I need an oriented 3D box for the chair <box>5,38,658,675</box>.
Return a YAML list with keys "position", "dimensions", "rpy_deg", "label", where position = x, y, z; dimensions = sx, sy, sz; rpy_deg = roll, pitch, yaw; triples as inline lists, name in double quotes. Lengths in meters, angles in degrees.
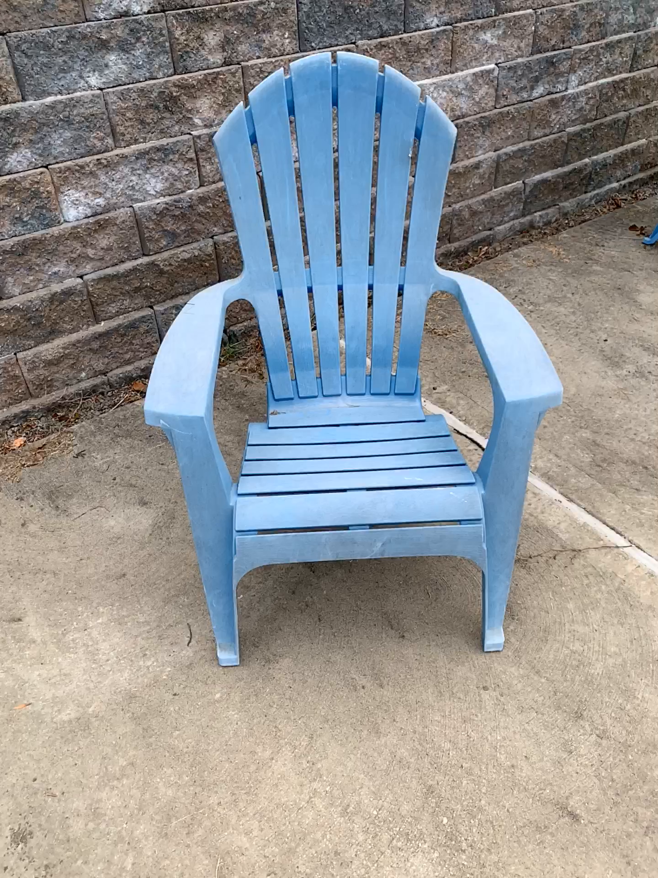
- position: [0.019, -0.153, 1.251]
  dimensions: [0.700, 0.886, 0.764]
  rpy_deg: [-2, 42, -1]
  label: "chair"
